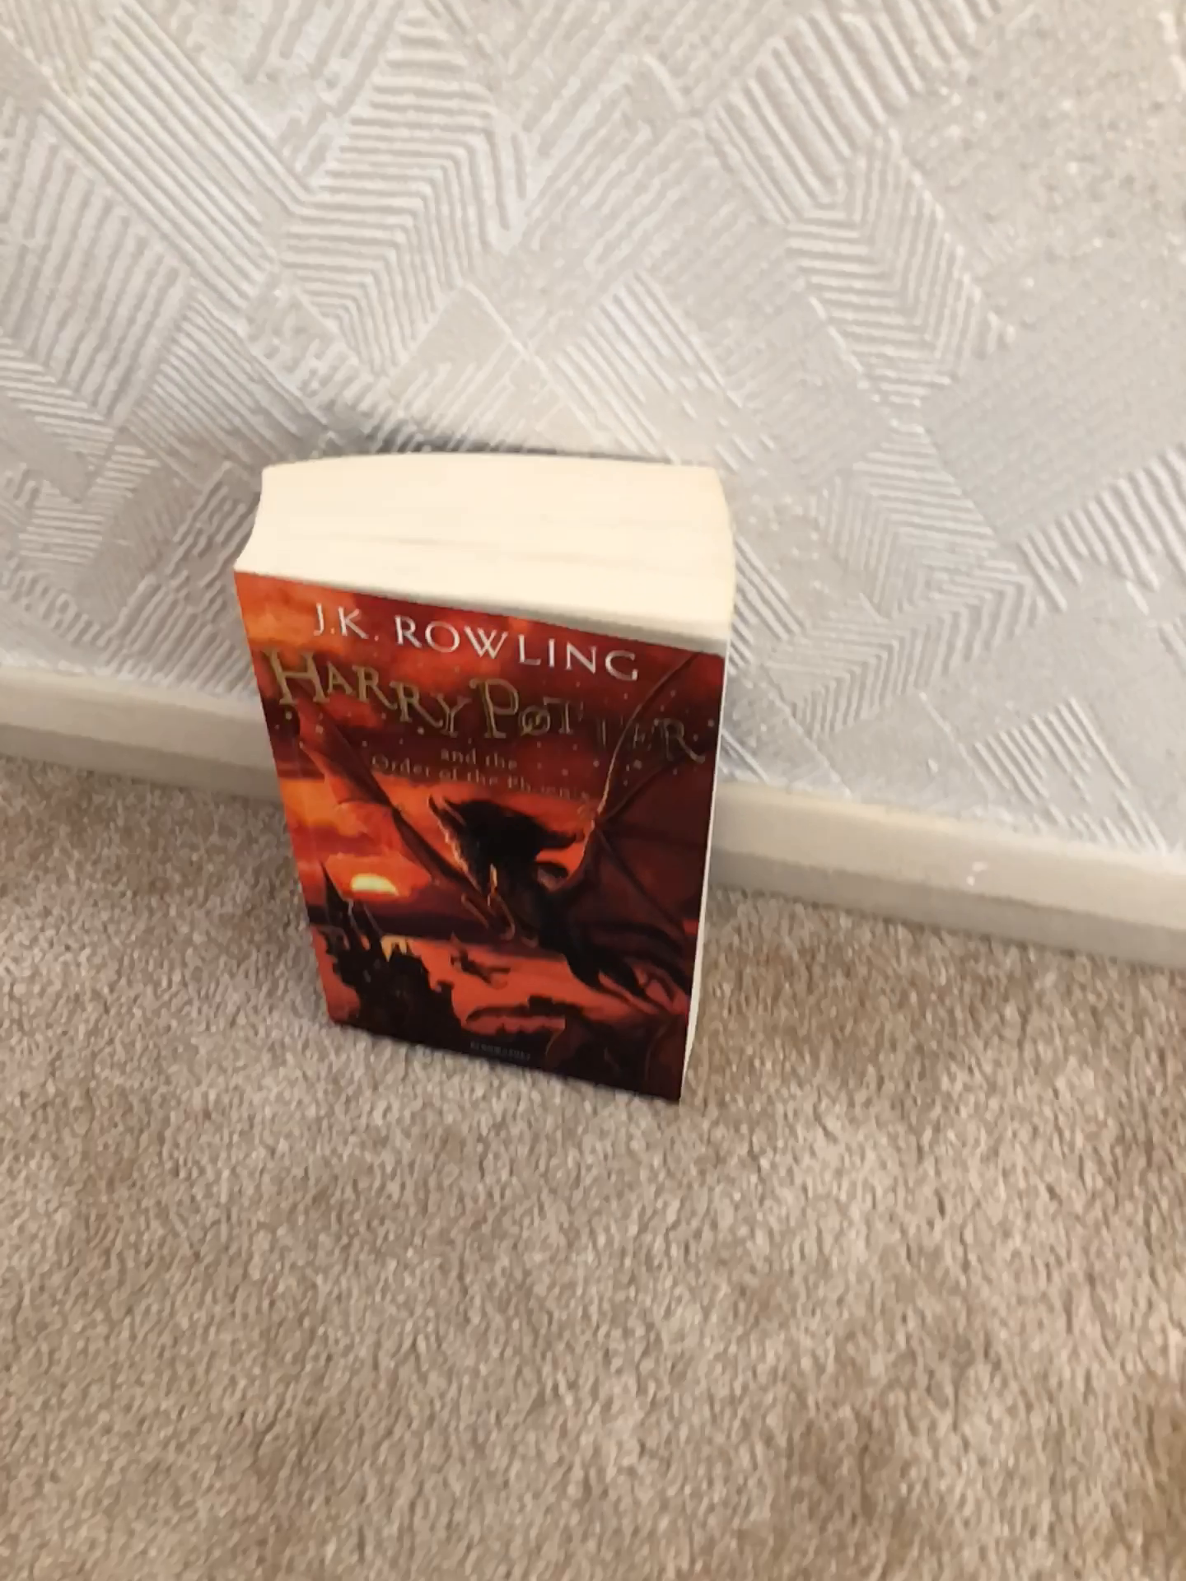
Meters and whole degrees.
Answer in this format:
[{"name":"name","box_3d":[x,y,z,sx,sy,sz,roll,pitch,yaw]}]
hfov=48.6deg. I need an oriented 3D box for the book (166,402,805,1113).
[{"name":"book","box_3d":[-0.025,-0.004,0.414,0.147,0.189,0.092,11,47,10]}]
